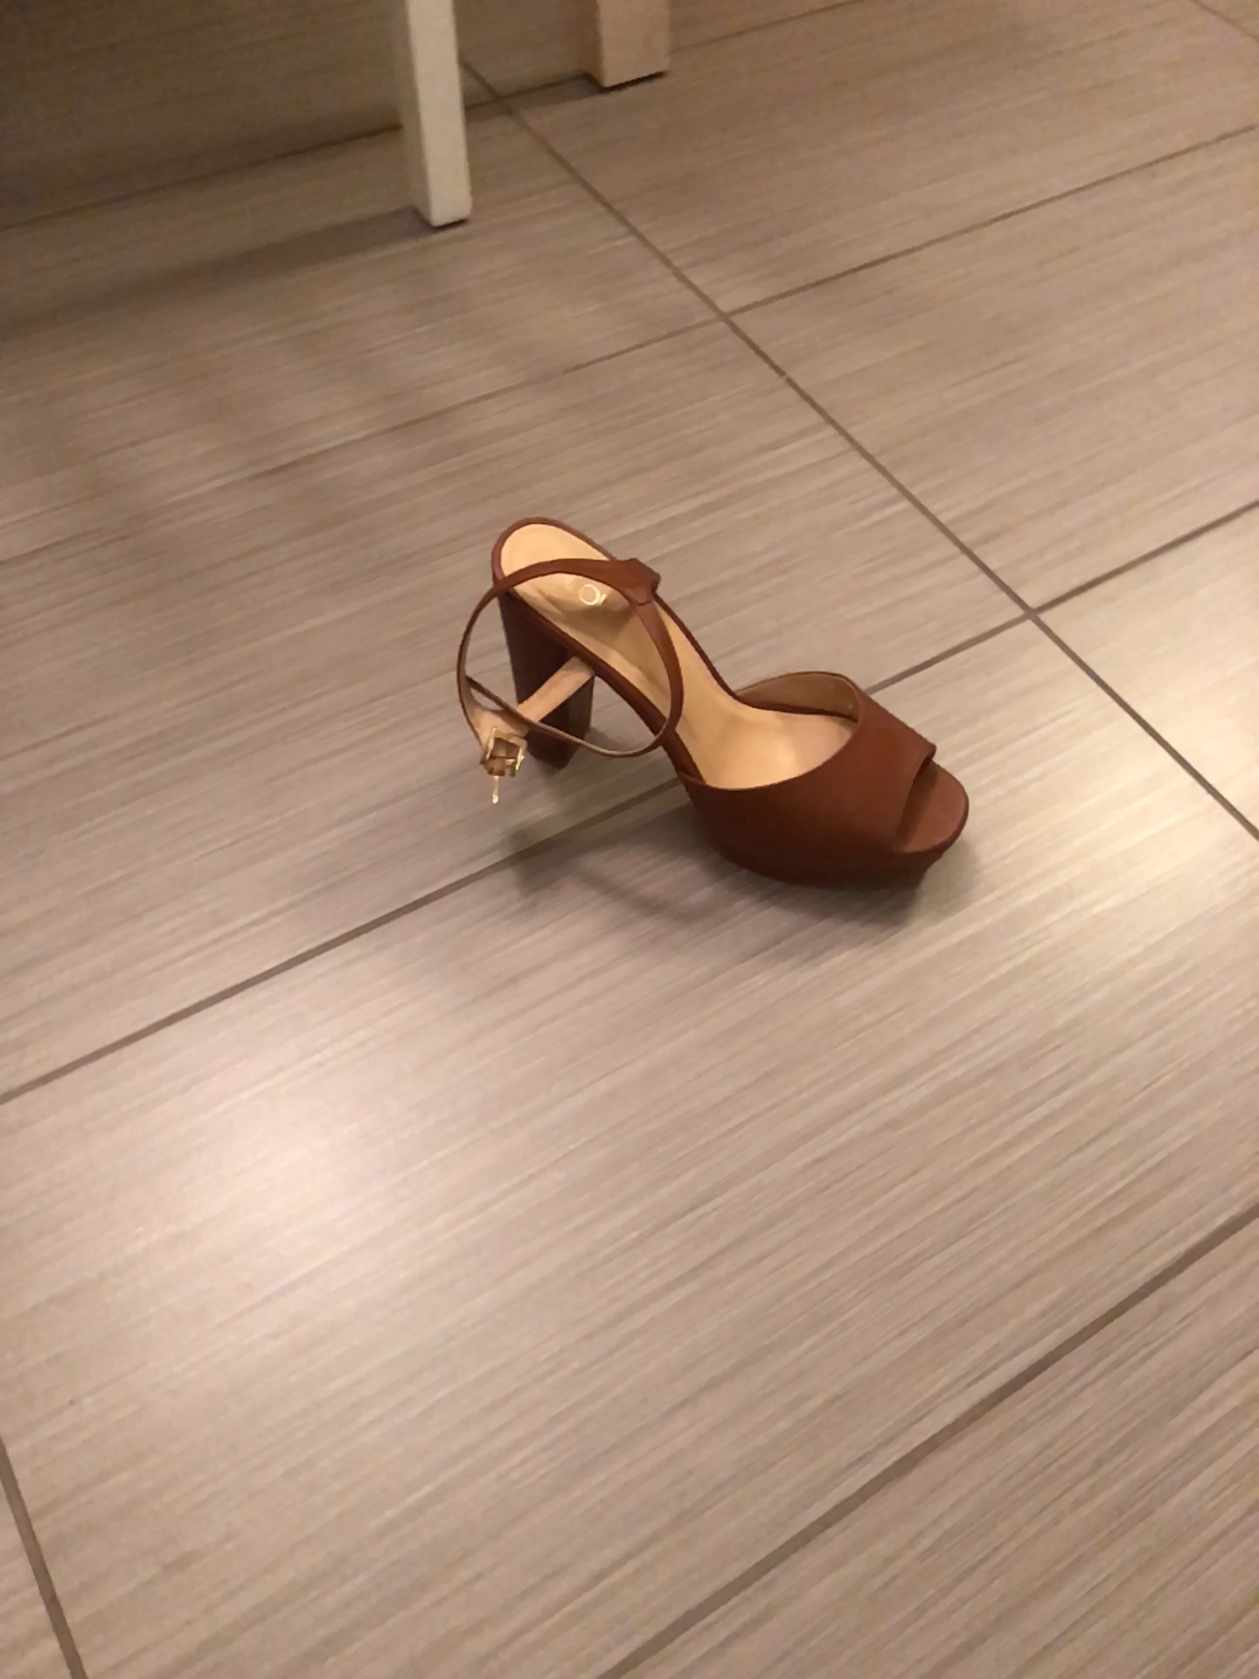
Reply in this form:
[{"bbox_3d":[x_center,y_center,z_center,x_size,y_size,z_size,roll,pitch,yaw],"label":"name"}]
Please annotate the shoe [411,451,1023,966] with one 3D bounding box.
[{"bbox_3d":[0.034,-0.061,0.627,0.240,0.090,0.111,27,58,9],"label":"shoe"}]
